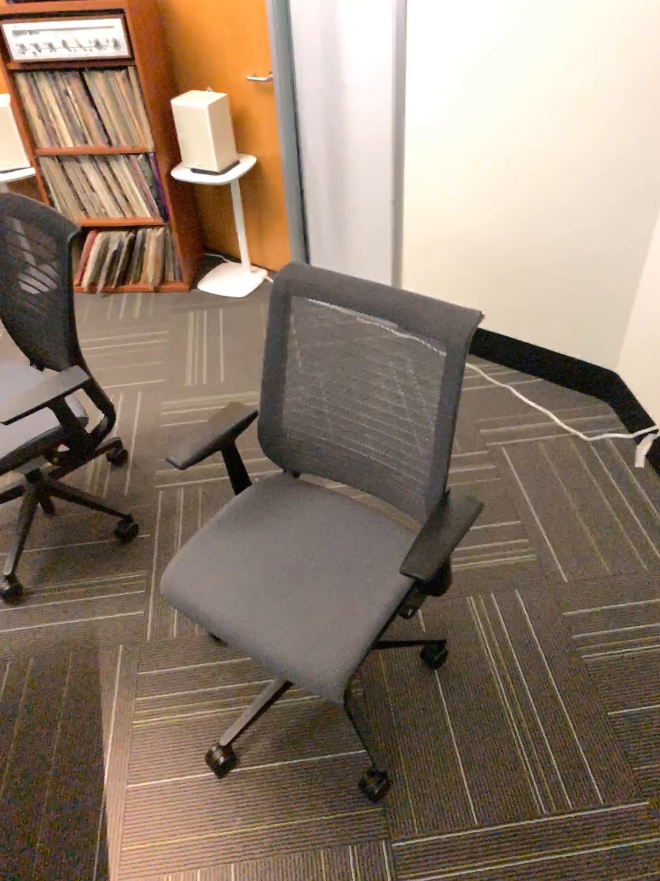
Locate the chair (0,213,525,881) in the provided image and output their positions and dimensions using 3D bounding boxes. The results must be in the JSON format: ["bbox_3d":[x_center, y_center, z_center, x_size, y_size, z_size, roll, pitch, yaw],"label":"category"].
[{"bbox_3d":[-0.138,0.231,1.583,0.792,1.114,0.802,19,47,24],"label":"chair"}]
